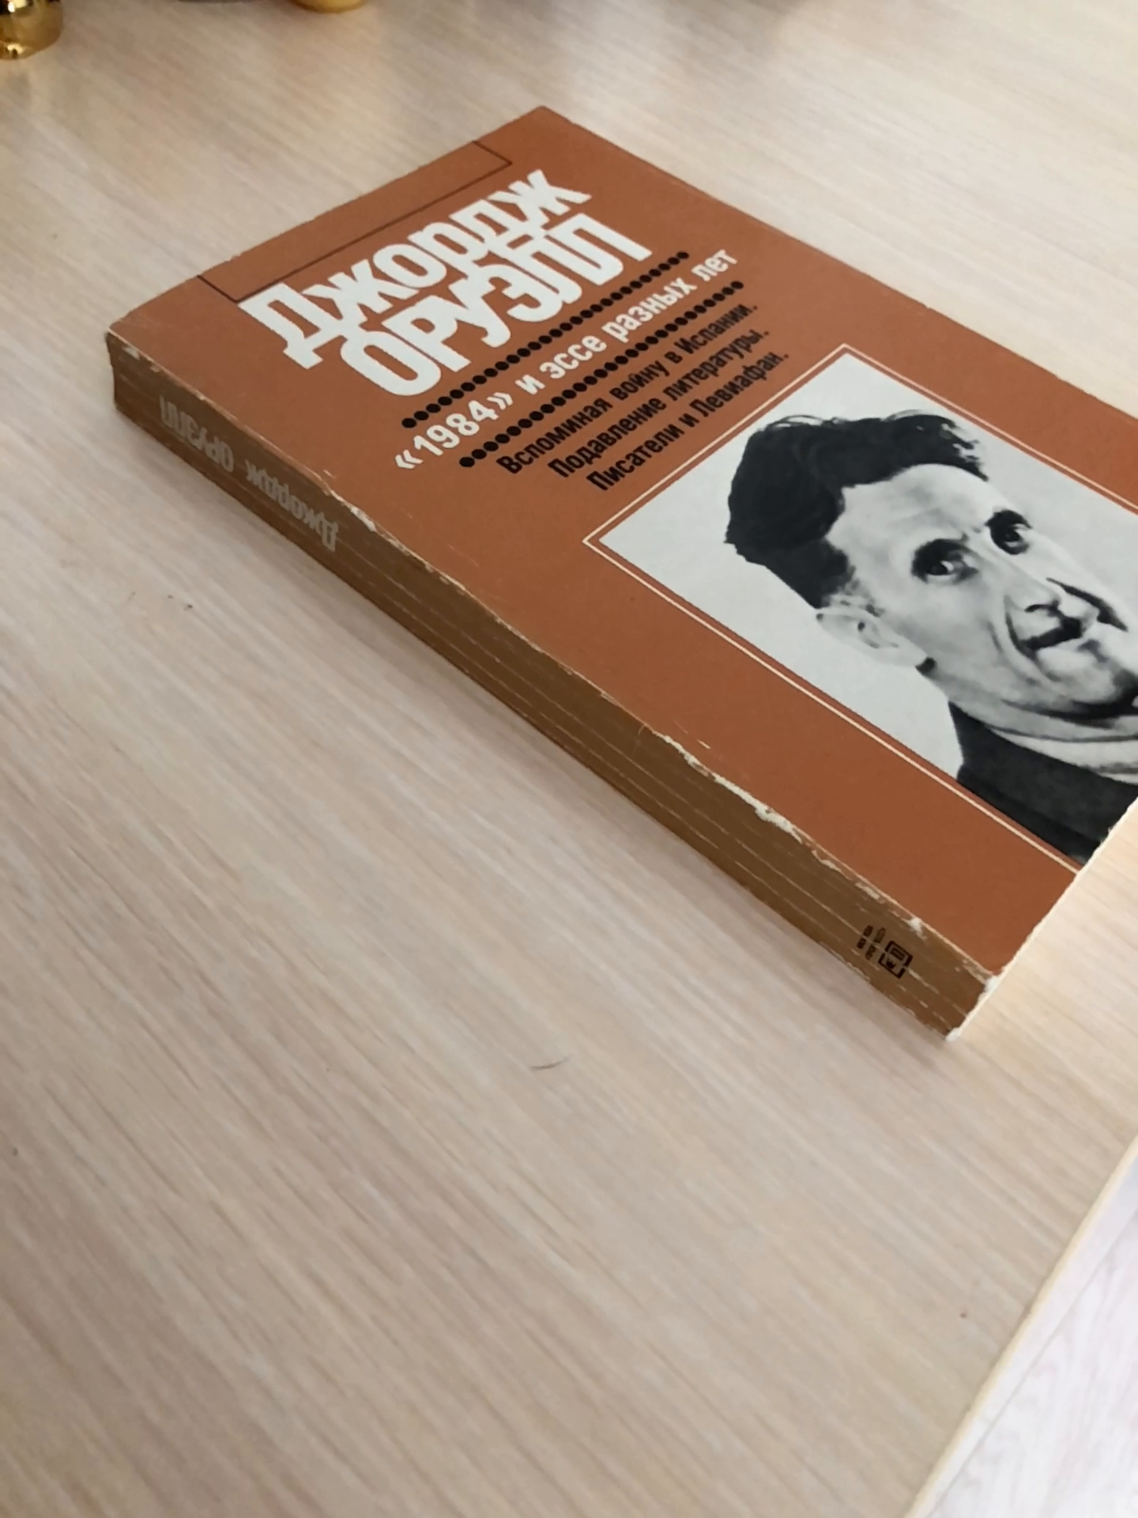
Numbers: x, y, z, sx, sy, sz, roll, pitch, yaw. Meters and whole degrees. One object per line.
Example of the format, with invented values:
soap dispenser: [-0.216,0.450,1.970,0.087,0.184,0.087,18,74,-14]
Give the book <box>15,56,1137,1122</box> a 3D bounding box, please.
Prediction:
book: [0.019,-0.055,0.240,0.210,0.040,0.131,37,60,22]
